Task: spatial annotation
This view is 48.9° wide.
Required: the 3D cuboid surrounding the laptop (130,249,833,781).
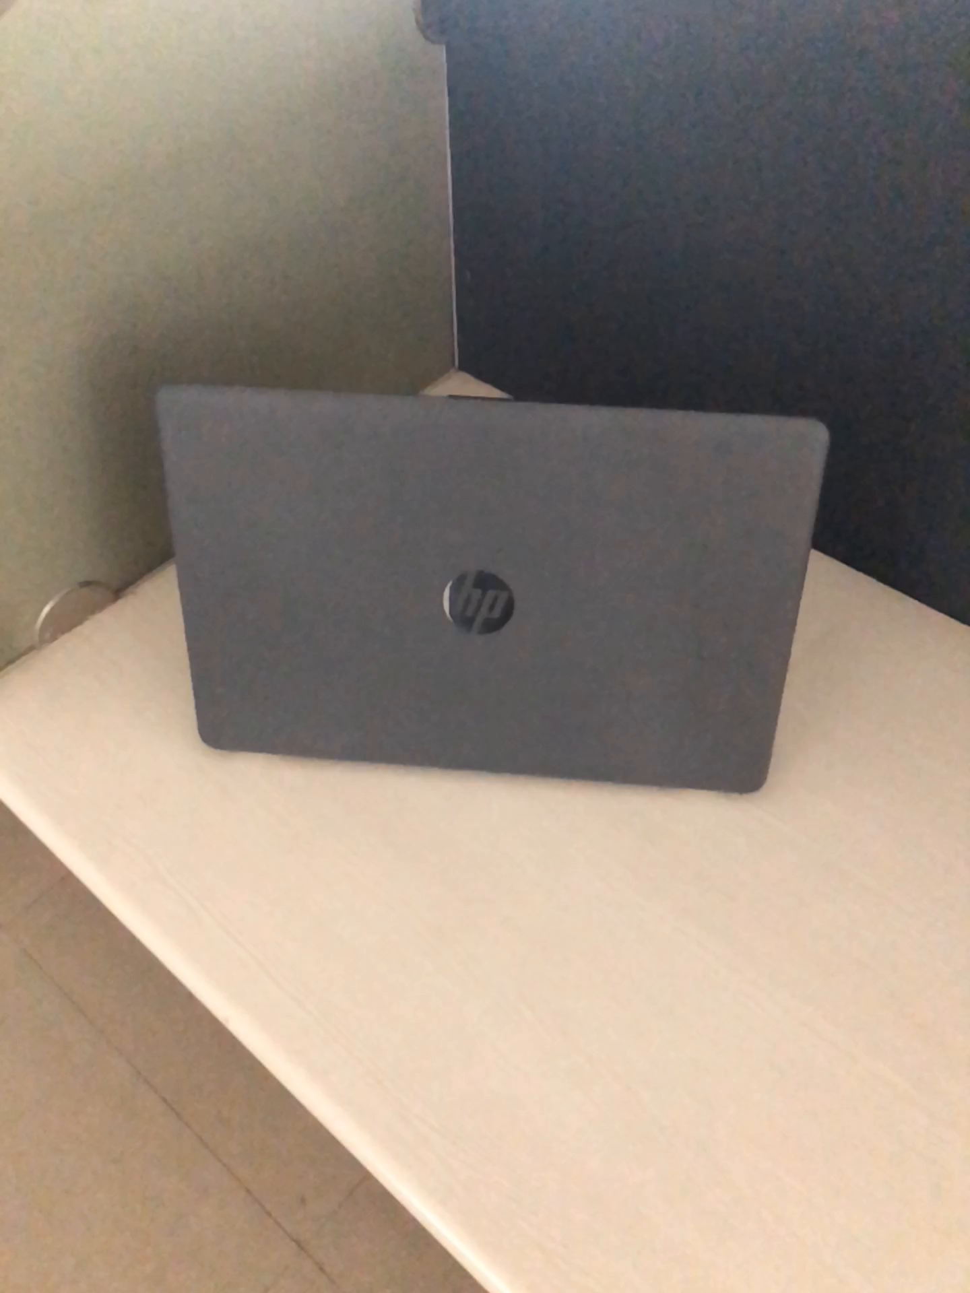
[{"bbox_3d":[0.008,-0.090,0.697,0.359,0.215,0.239,4,49,6],"label":"laptop"}]
